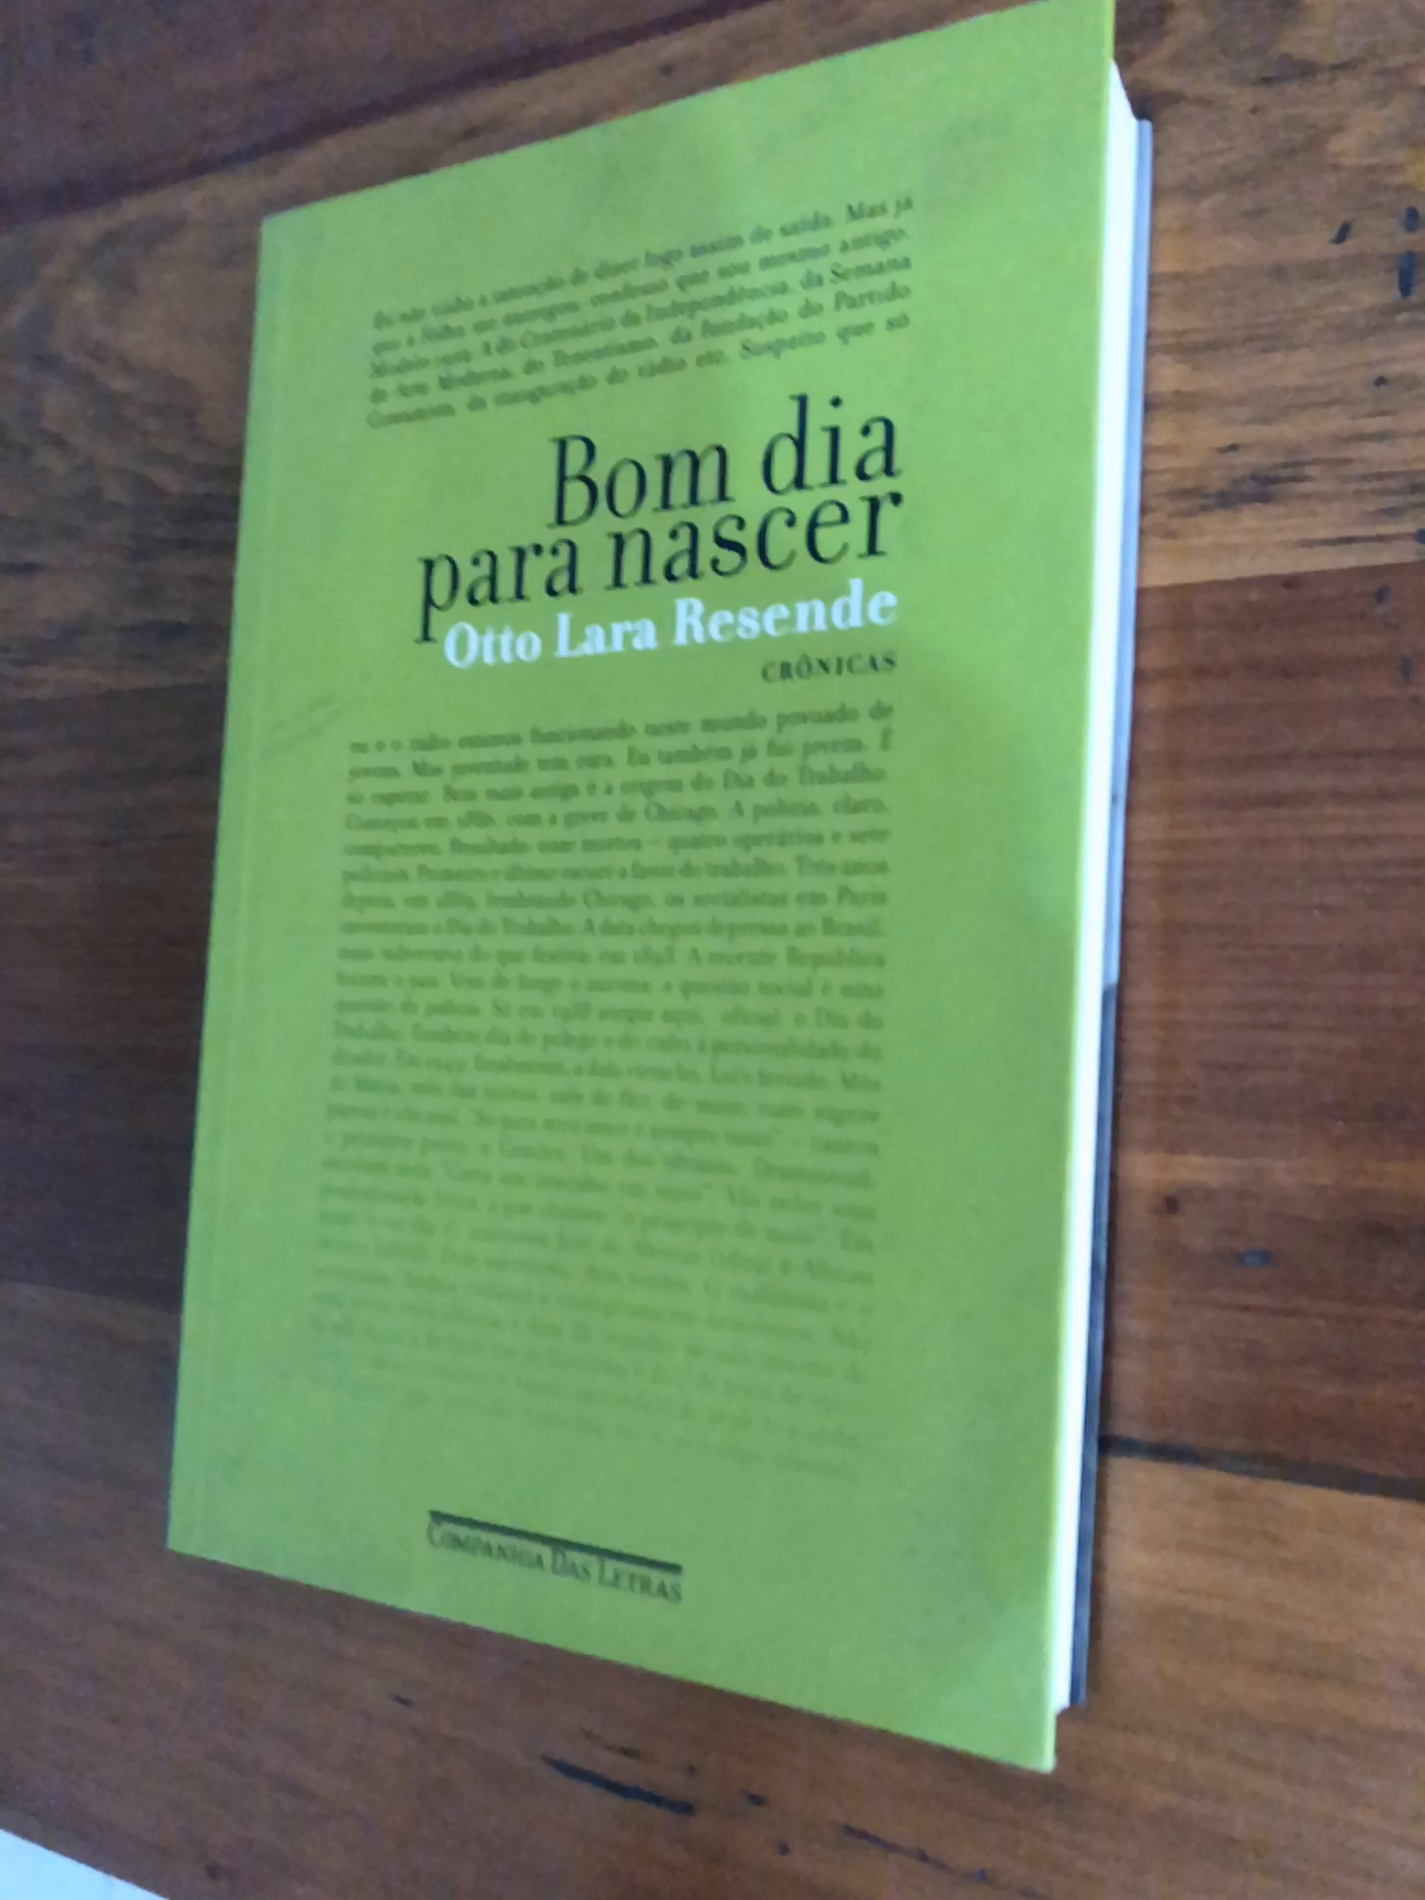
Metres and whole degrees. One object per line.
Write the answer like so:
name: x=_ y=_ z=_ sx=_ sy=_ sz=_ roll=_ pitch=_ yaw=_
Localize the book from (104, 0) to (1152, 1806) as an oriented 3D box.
book: x=-0.015 y=-0.013 z=0.220 sx=0.136 sy=0.030 sz=0.208 roll=1 pitch=84 yaw=28
